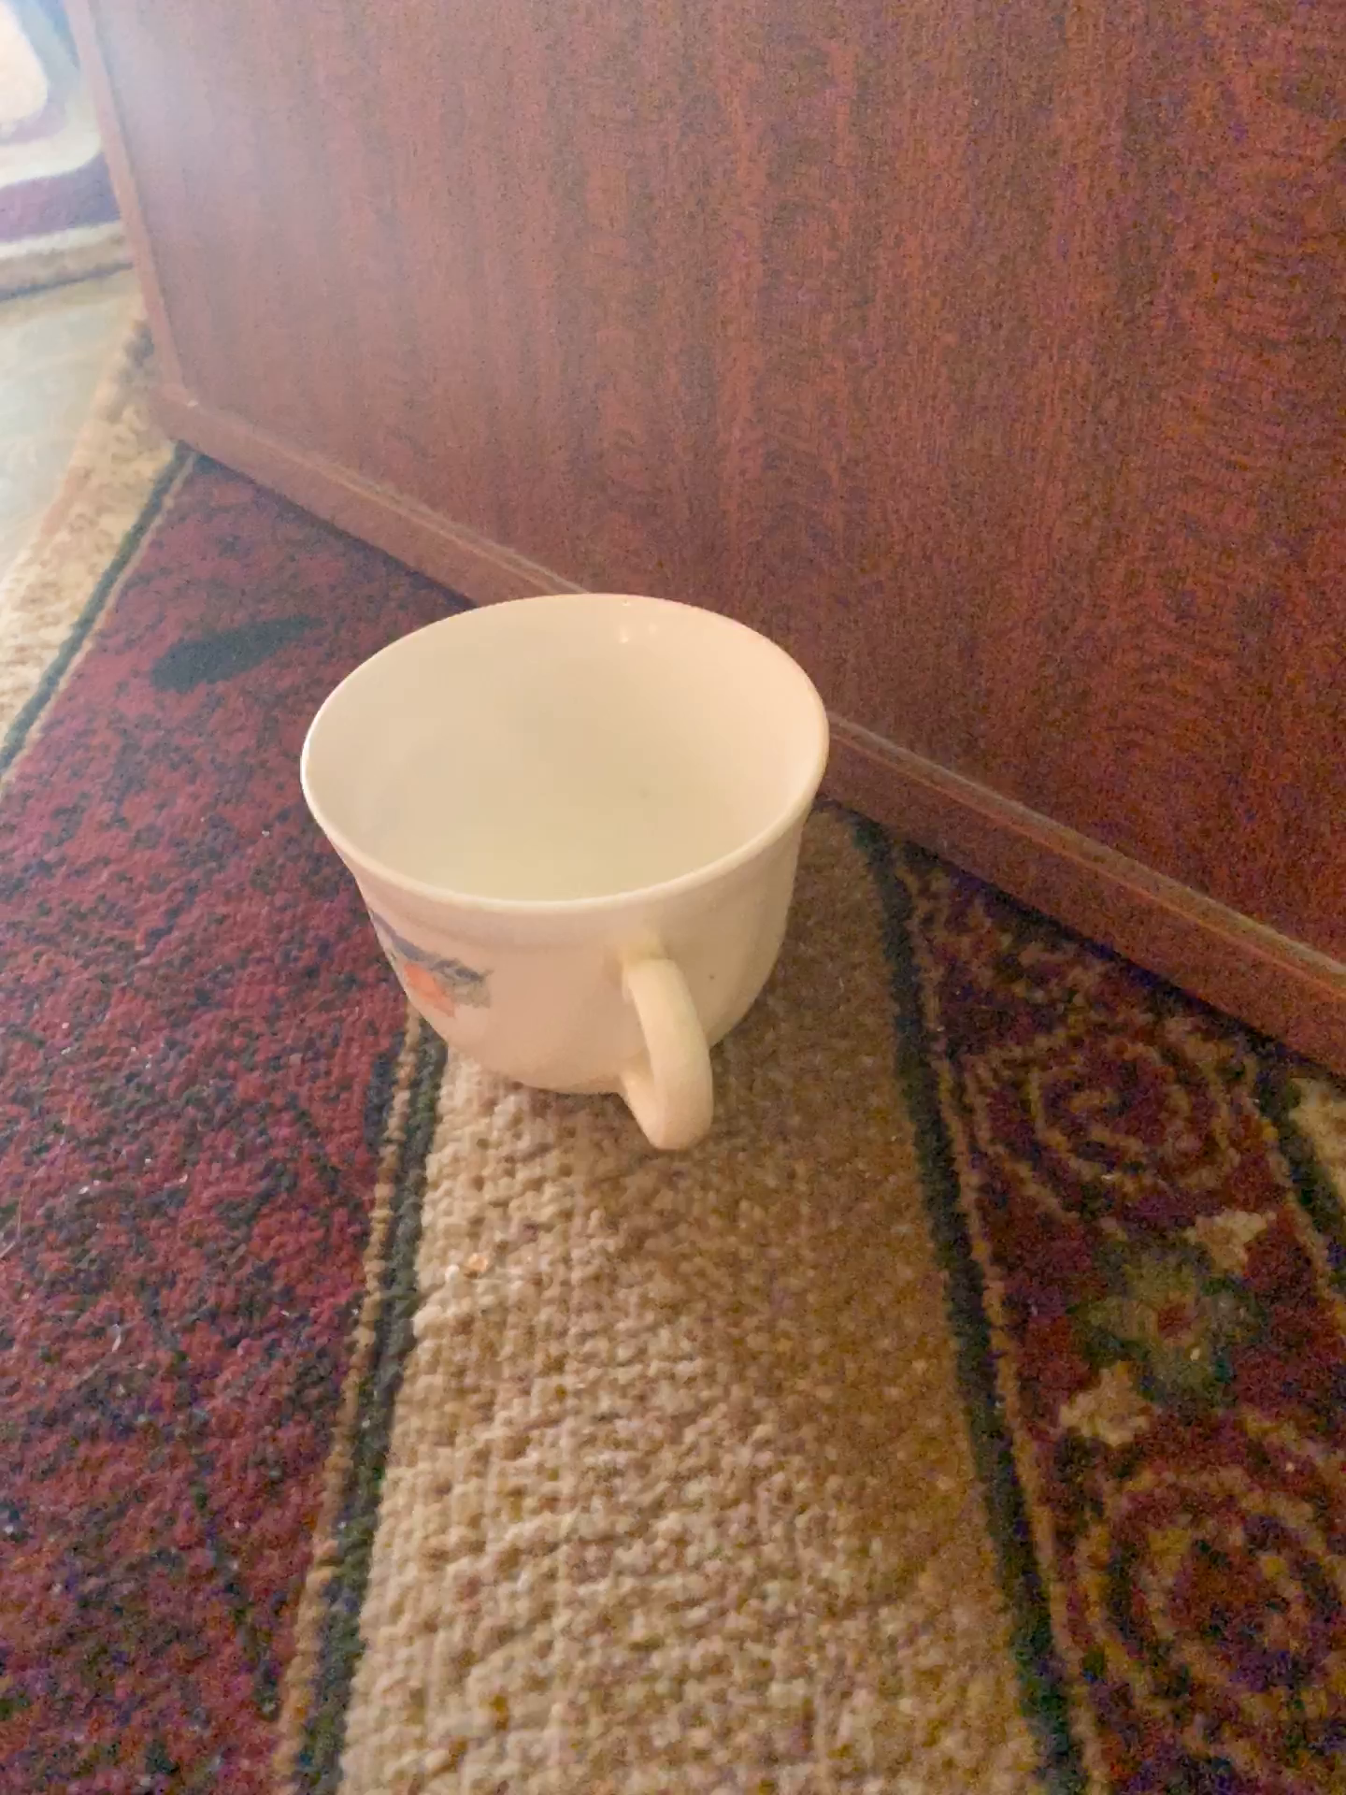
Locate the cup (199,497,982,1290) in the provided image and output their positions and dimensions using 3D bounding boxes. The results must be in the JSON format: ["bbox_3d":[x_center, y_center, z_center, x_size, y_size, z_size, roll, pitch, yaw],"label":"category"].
[{"bbox_3d":[-0.019,-0.010,0.224,0.082,0.053,0.110,-16,42,-17],"label":"cup"}]
